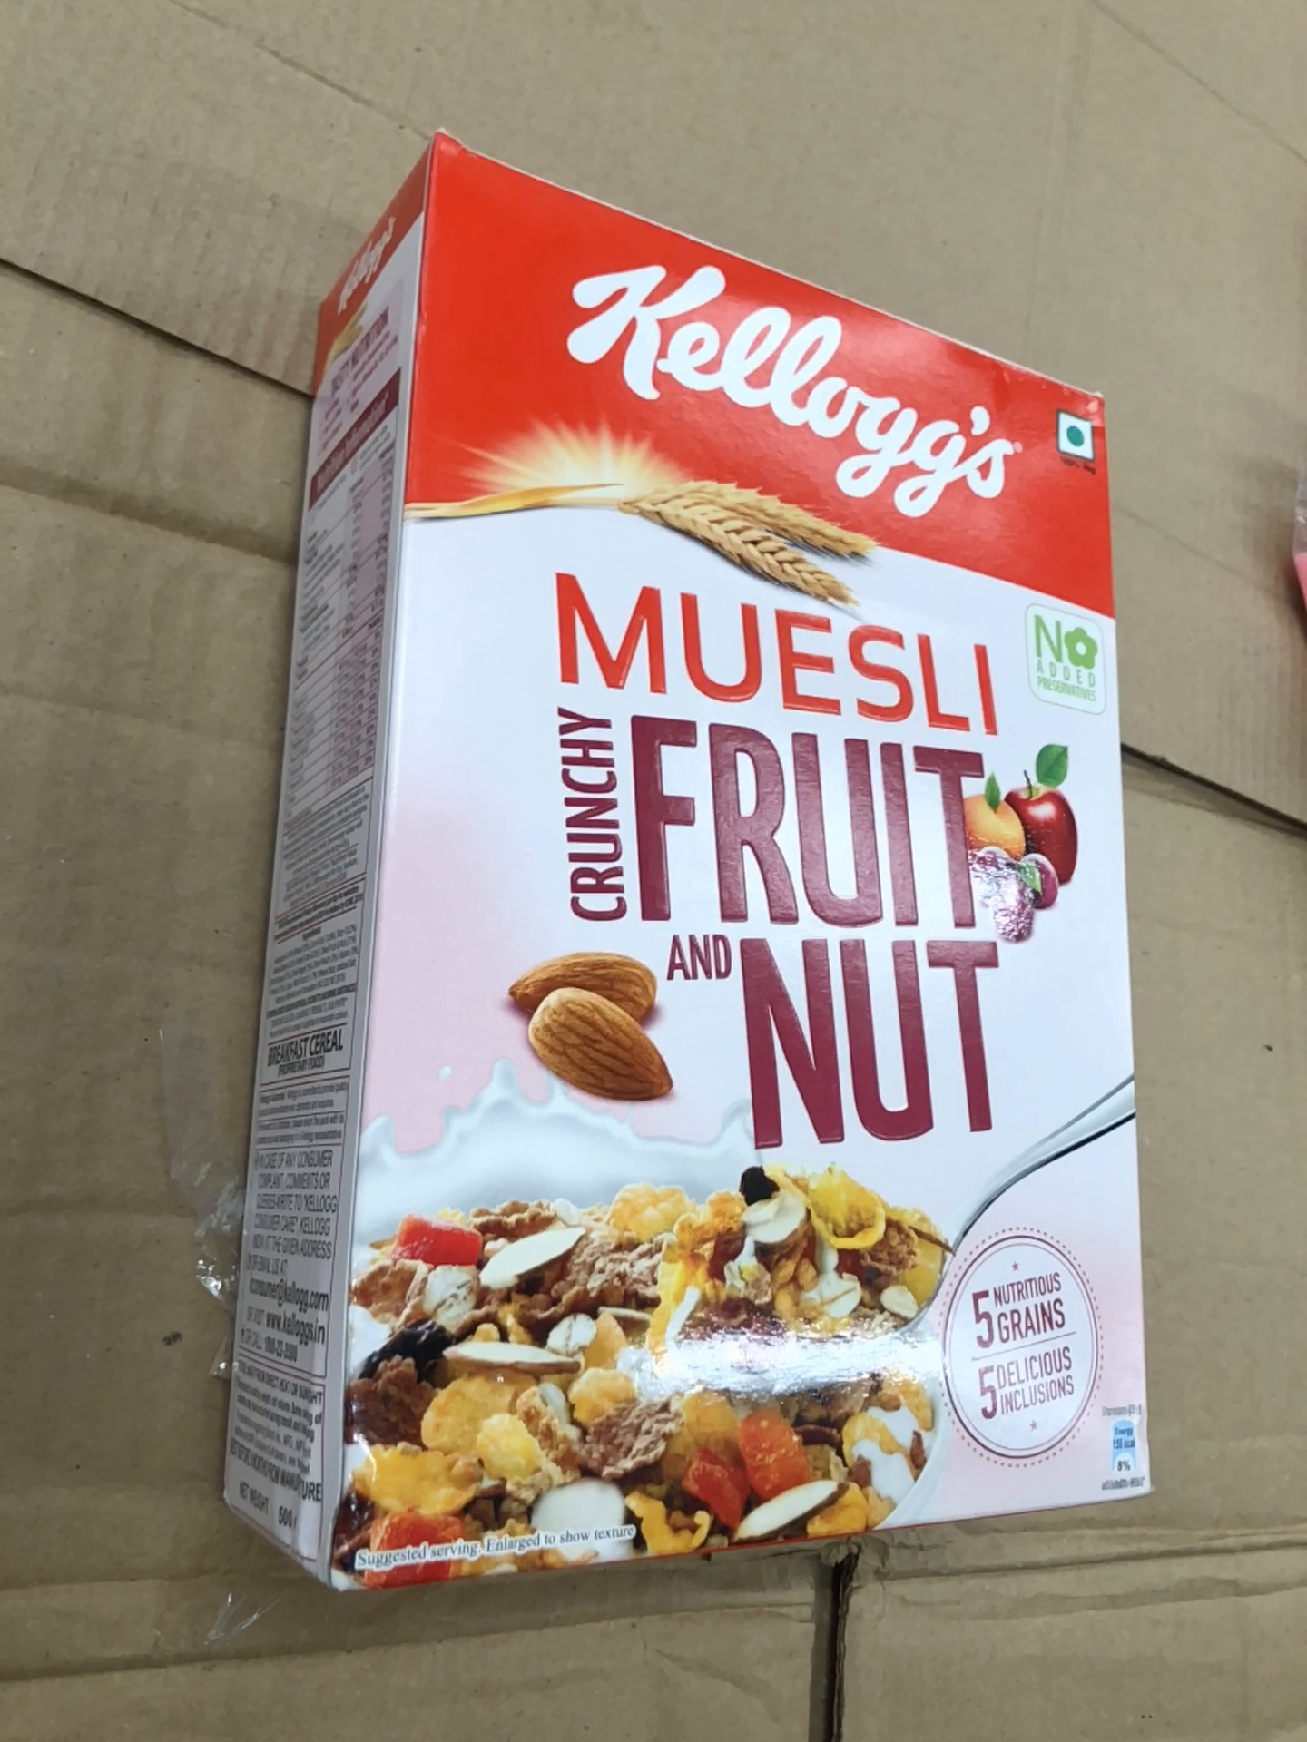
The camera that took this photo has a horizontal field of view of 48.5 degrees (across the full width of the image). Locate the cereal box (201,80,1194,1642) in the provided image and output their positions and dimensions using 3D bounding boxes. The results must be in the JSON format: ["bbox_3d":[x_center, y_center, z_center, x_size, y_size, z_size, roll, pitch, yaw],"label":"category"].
[{"bbox_3d":[0.012,0.001,0.301,0.171,0.080,0.250,8,75,-29],"label":"cereal box"}]
